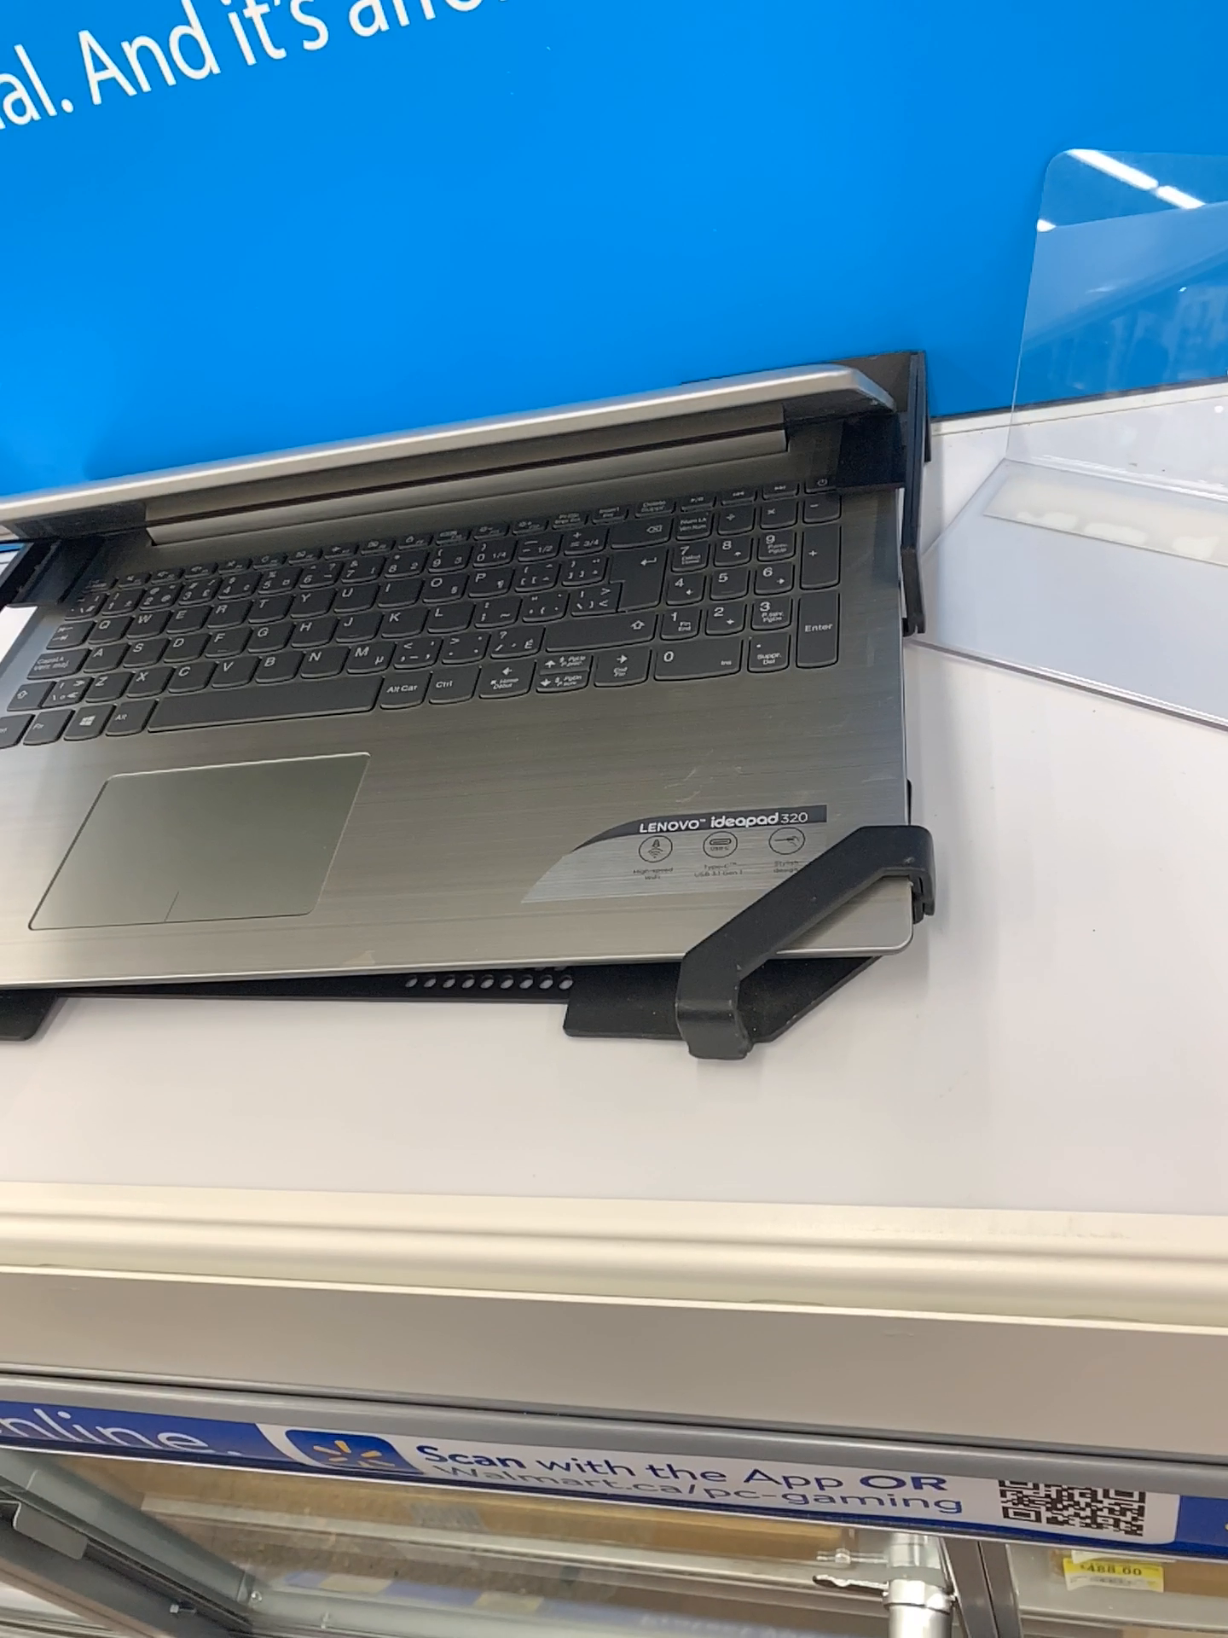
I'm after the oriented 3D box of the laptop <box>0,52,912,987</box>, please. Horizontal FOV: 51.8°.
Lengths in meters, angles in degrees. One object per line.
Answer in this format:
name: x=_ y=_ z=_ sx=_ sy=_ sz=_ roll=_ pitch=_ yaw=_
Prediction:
laptop: x=-0.091 y=-0.082 z=0.361 sx=0.324 sy=0.110 sz=0.220 roll=-4 pitch=48 yaw=15
